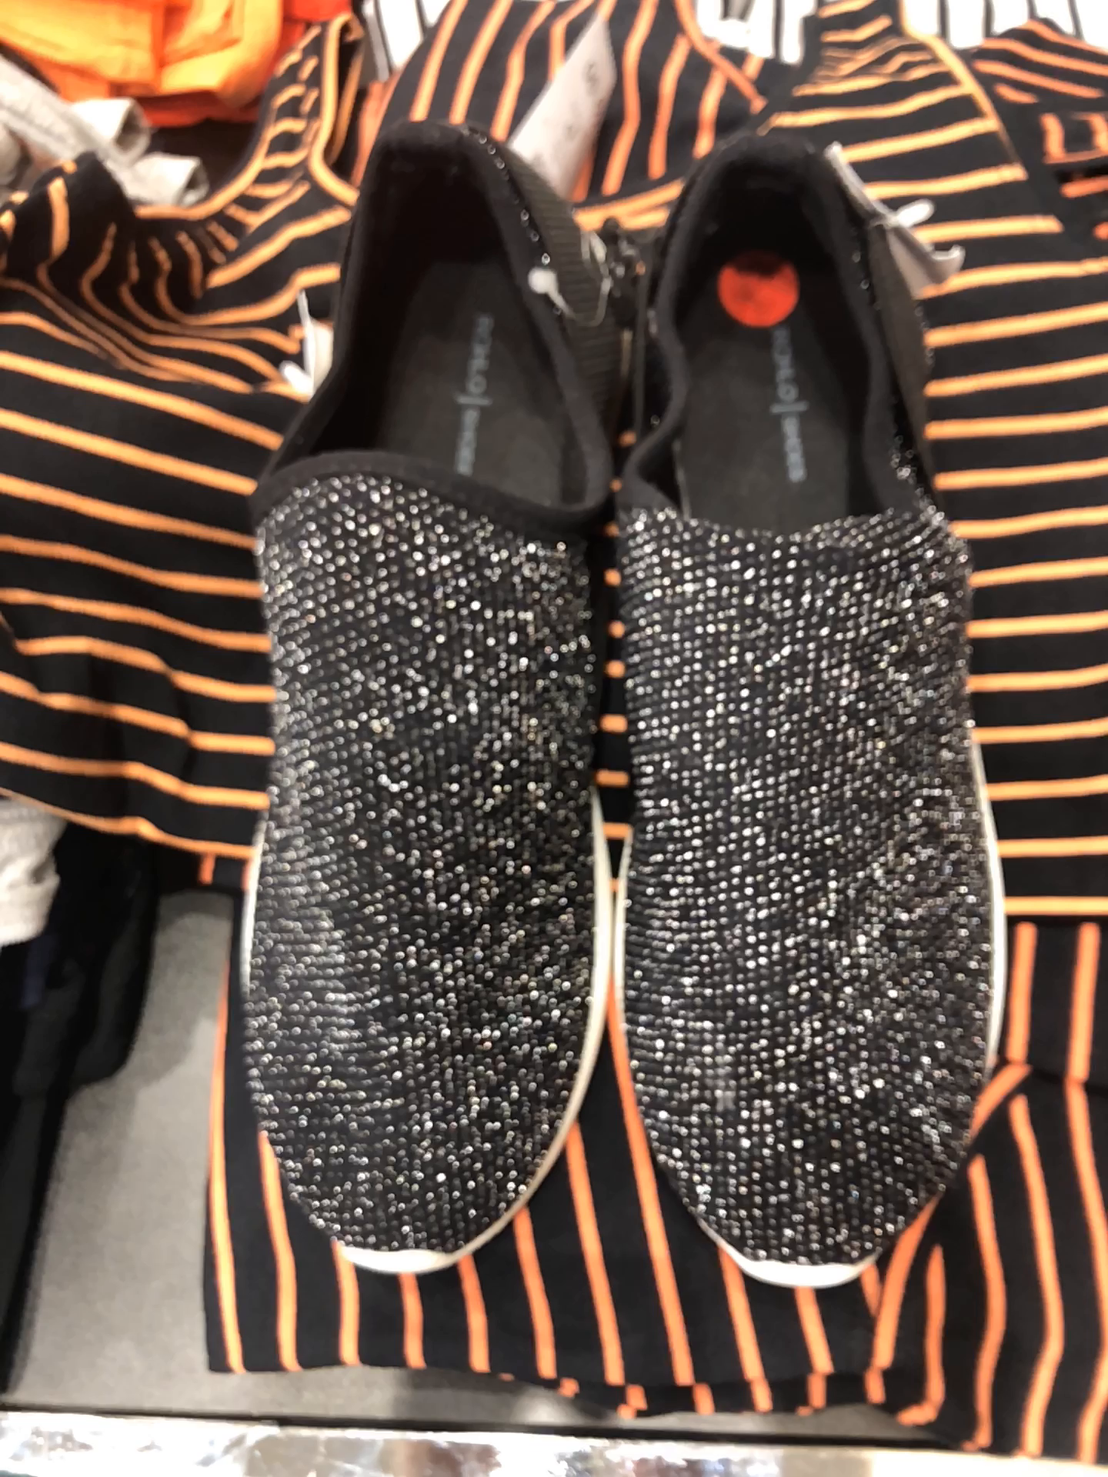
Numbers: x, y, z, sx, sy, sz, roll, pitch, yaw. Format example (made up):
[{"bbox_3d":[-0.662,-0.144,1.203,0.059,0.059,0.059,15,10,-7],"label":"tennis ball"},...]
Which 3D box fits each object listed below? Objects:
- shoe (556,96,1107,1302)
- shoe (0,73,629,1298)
[{"bbox_3d":[0.053,-0.008,0.283,0.100,0.110,0.241,-1,69,1],"label":"shoe"},{"bbox_3d":[-0.036,-0.012,0.278,0.100,0.110,0.241,1,69,2],"label":"shoe"}]
